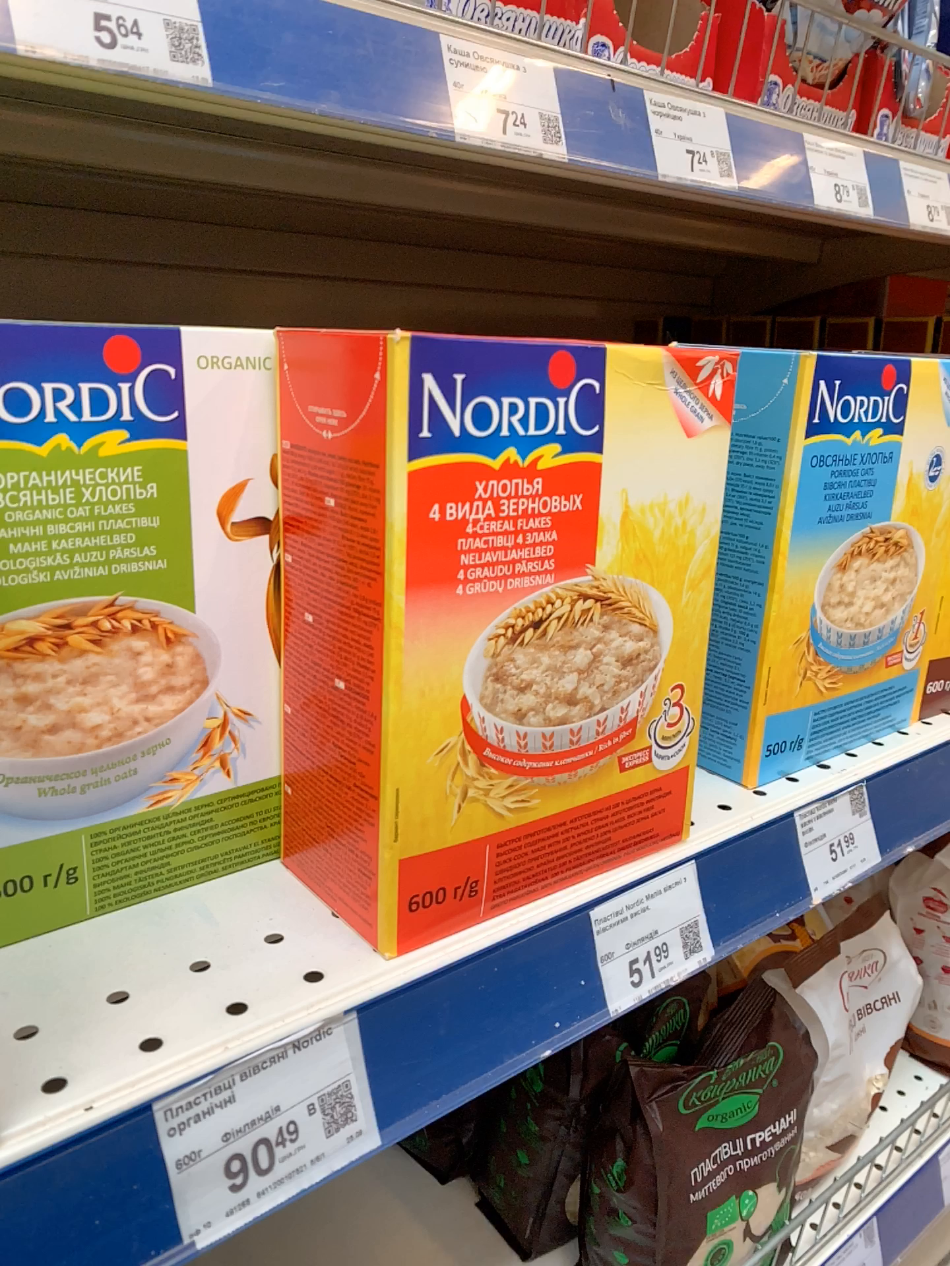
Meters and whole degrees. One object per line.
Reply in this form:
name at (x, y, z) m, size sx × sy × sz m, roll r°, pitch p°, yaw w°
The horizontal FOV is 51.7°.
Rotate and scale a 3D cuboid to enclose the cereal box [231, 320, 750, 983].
cereal box at (0.005, -0.007, 0.343) m, size 0.150 × 0.189 × 0.080 m, roll -10°, pitch 20°, yaw -36°
